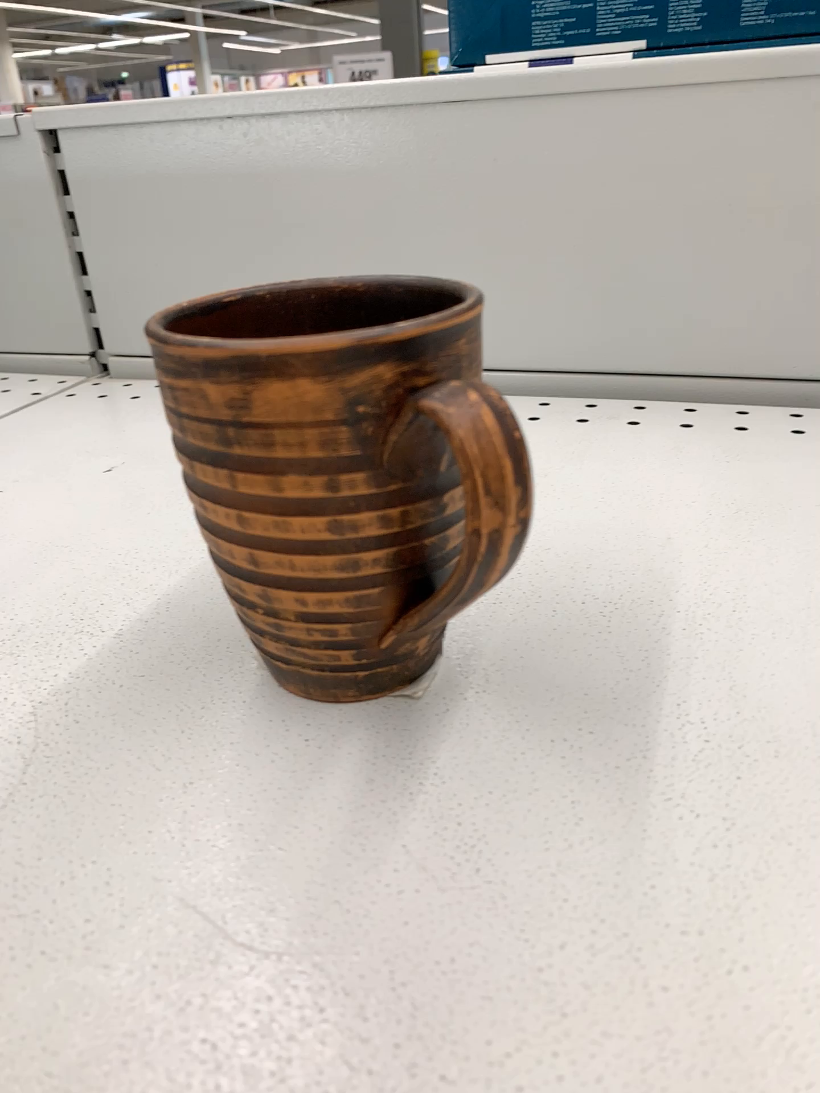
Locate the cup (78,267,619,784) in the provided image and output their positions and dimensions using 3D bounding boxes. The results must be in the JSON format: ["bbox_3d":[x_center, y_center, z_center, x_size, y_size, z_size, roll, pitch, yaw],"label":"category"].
[{"bbox_3d":[-0.015,-0.018,0.224,0.083,0.089,0.106,-25,33,-36],"label":"cup"}]
